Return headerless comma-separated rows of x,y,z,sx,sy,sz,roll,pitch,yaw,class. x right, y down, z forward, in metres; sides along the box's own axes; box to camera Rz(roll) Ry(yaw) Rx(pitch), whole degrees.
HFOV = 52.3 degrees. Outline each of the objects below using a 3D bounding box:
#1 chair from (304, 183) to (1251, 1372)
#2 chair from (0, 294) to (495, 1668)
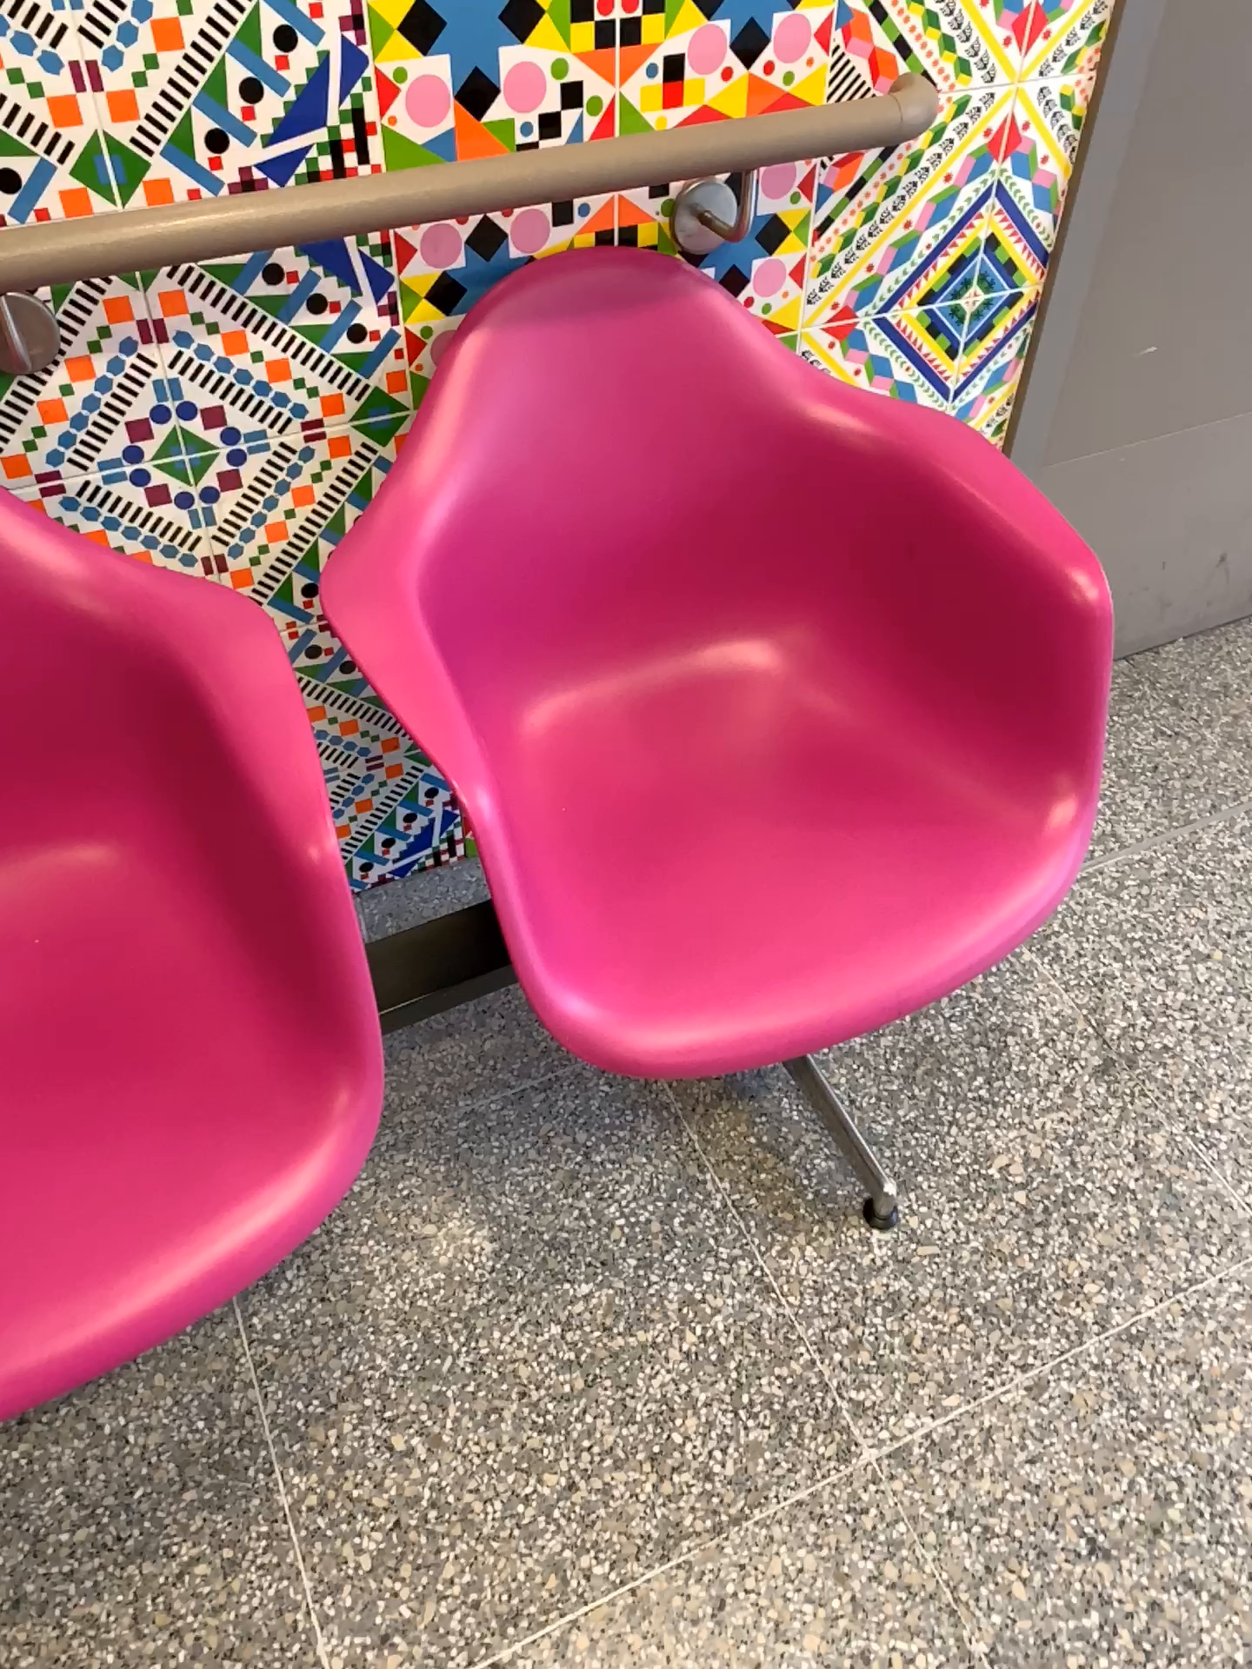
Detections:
0.105,-0.048,1.158,0.521,0.763,0.605,-18,49,-17,chair
-0.471,0.140,0.952,0.521,0.763,0.605,-18,49,-17,chair
